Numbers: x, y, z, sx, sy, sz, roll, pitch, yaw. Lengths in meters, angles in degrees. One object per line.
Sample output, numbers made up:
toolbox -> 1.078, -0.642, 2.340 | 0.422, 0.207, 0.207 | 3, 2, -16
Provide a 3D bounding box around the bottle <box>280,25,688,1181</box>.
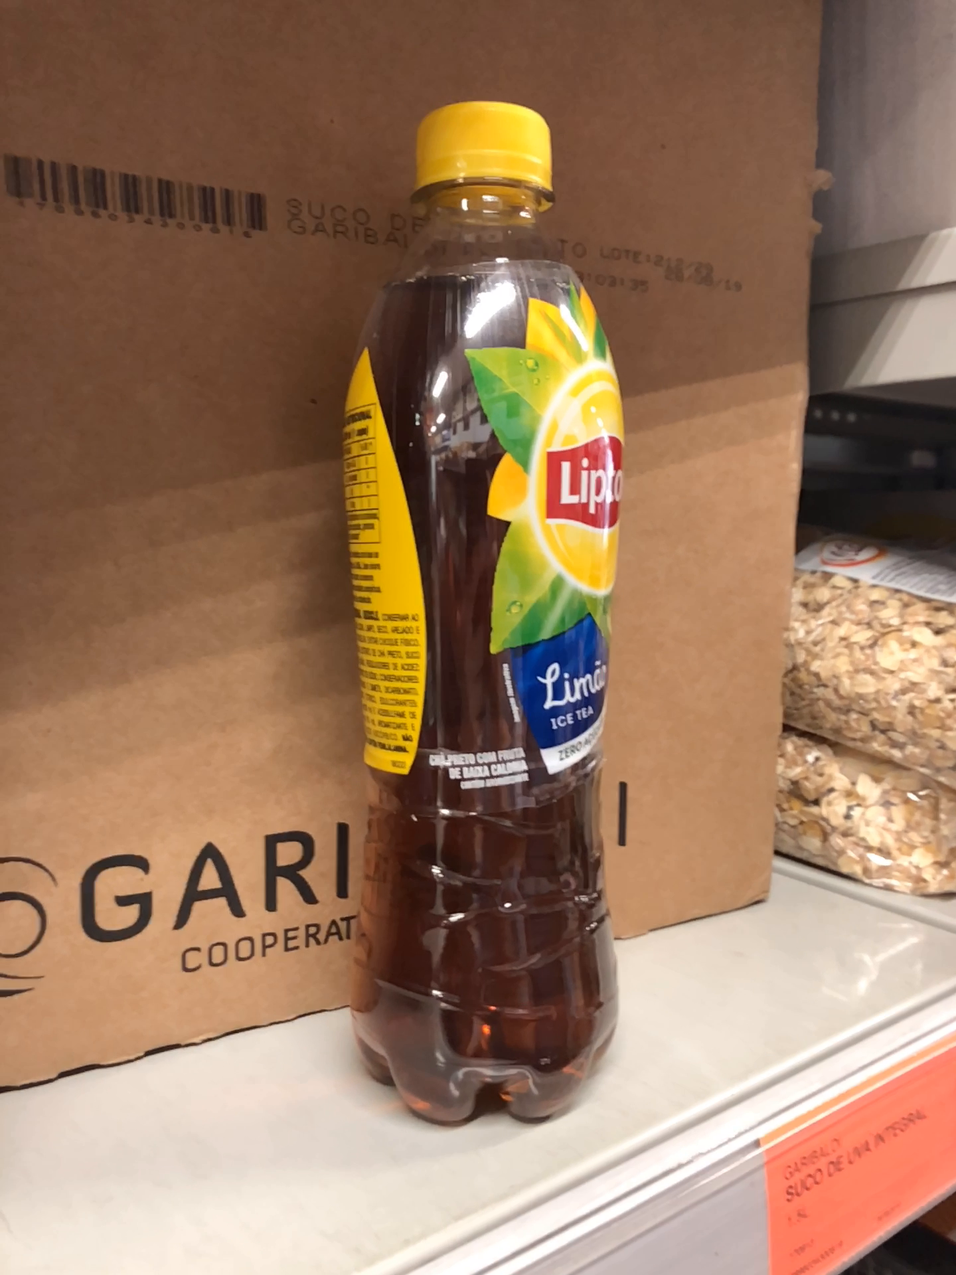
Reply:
bottle -> 0.002, -0.006, 0.247 | 0.060, 0.219, 0.070 | 6, 9, 34
